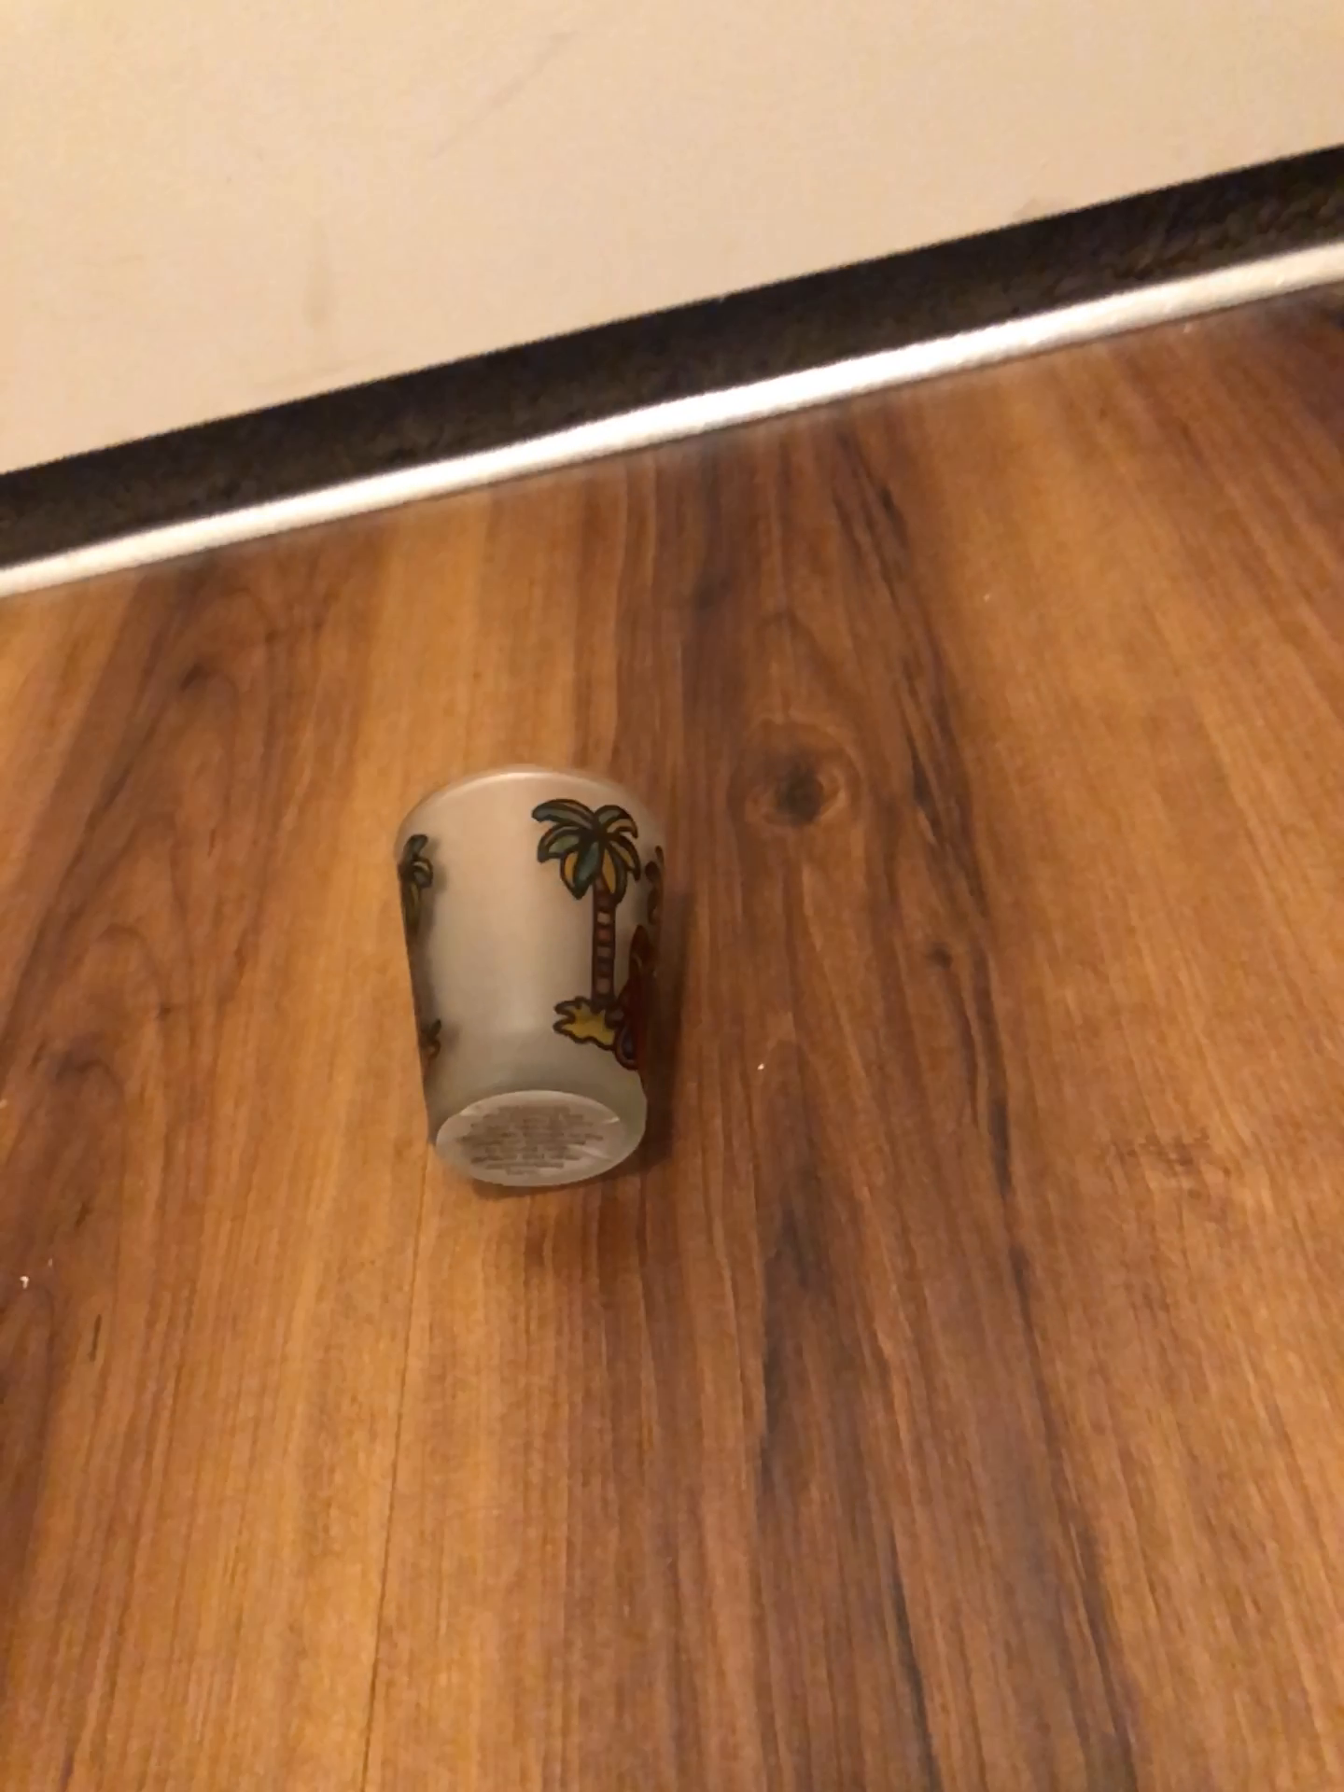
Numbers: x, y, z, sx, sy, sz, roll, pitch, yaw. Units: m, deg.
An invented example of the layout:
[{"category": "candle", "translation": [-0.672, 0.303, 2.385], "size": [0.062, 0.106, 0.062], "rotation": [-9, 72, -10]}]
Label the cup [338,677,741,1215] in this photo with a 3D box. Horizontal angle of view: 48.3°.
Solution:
[{"category": "cup", "translation": [-0.020, 0.008, 0.251], "size": [0.050, 0.045, 0.070], "rotation": [-11, 46, 8]}]
